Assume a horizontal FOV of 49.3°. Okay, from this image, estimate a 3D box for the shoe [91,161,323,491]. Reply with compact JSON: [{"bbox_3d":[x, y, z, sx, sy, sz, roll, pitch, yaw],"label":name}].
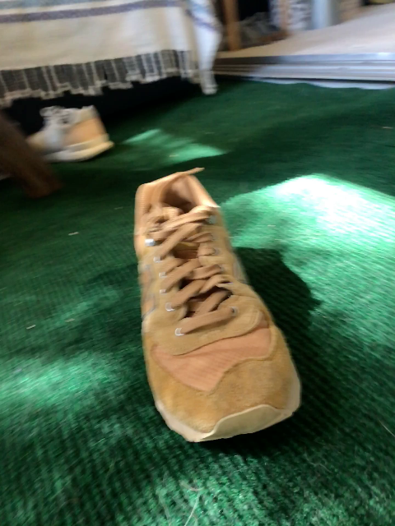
[{"bbox_3d":[-0.012,0.015,0.341,0.110,0.099,0.262,-15,30,-4],"label":"shoe"}]
